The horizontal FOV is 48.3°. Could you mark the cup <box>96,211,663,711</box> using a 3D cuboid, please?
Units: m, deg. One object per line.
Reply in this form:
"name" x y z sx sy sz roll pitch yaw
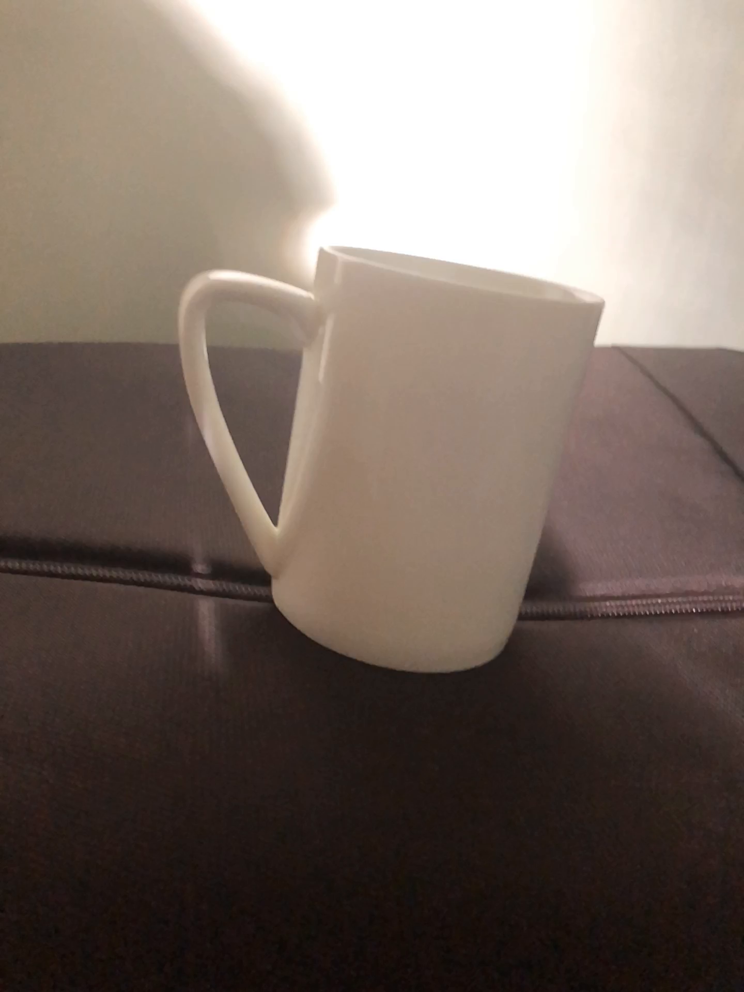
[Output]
"cup" 0.002 -0.019 0.225 0.108 0.090 0.097 12 18 4
